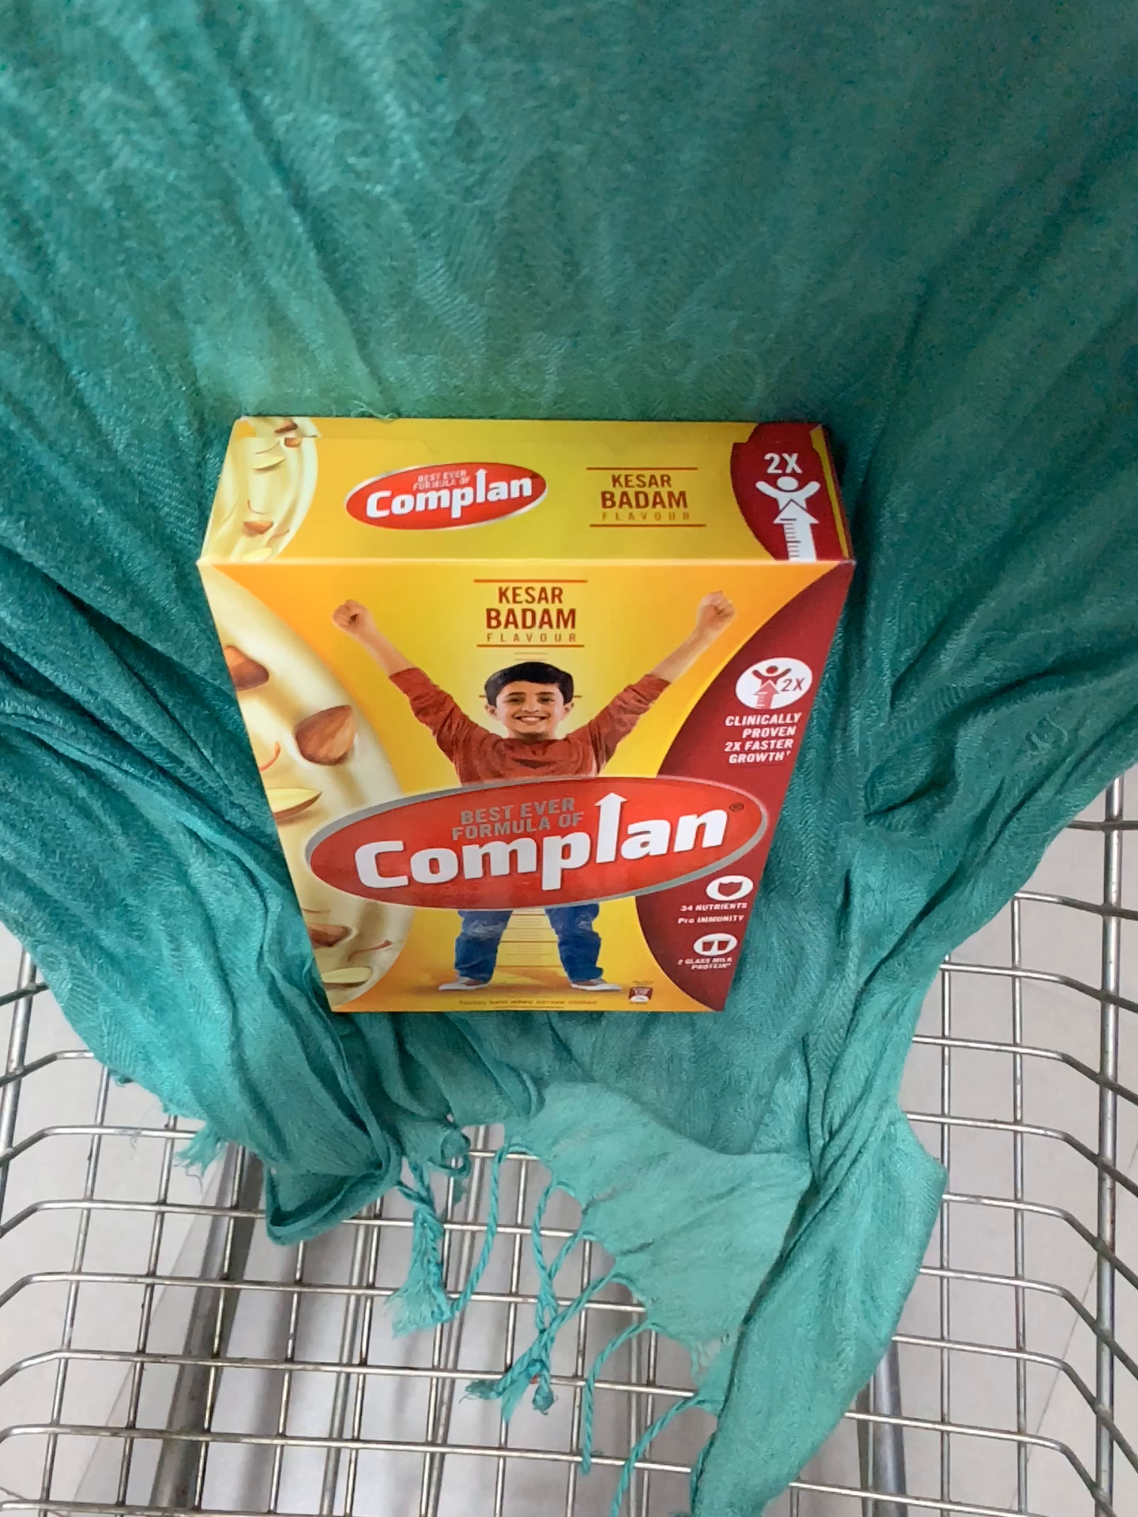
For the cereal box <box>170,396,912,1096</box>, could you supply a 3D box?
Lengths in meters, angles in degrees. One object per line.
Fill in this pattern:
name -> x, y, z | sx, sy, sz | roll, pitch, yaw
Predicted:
cereal box -> -0.005, 0.011, 0.312 | 0.140, 0.200, 0.060 | 1, 45, 1
